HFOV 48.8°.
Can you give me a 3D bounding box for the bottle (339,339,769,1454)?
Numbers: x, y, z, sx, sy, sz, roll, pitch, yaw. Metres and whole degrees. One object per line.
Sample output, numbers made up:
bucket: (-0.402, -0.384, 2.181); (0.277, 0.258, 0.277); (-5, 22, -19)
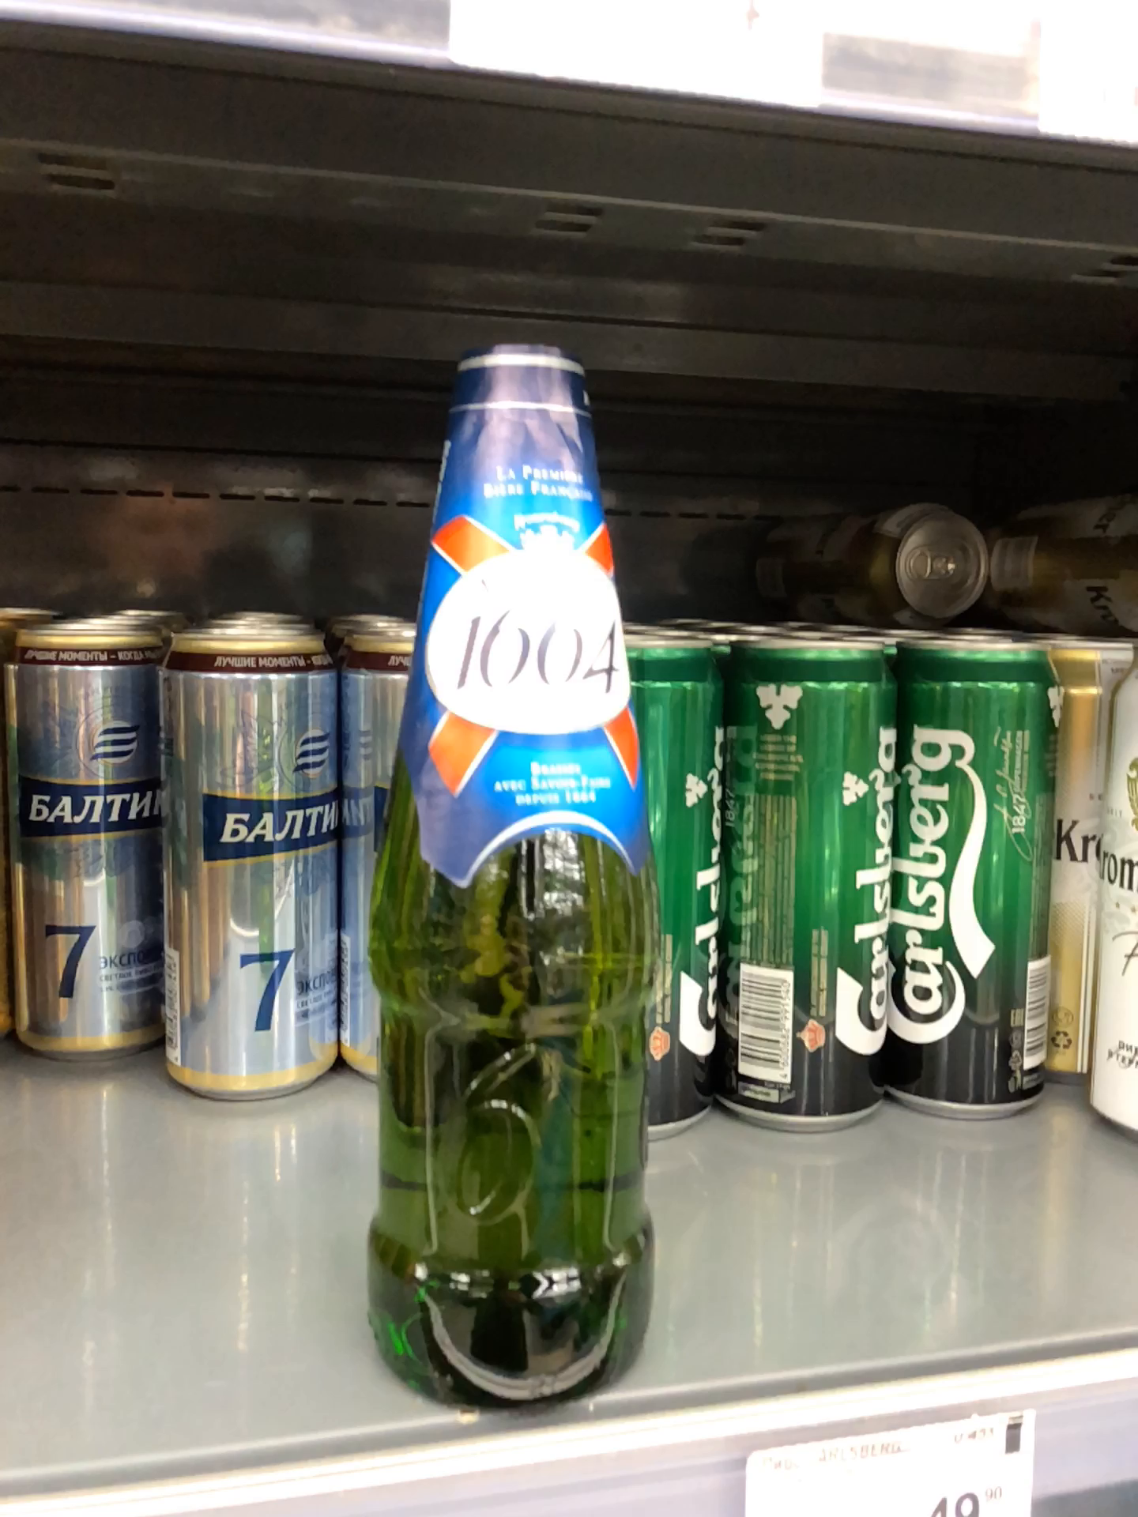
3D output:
bottle: (-0.010, 0.028, 0.304); (0.080, 0.230, 0.080); (1, 6, 0)
